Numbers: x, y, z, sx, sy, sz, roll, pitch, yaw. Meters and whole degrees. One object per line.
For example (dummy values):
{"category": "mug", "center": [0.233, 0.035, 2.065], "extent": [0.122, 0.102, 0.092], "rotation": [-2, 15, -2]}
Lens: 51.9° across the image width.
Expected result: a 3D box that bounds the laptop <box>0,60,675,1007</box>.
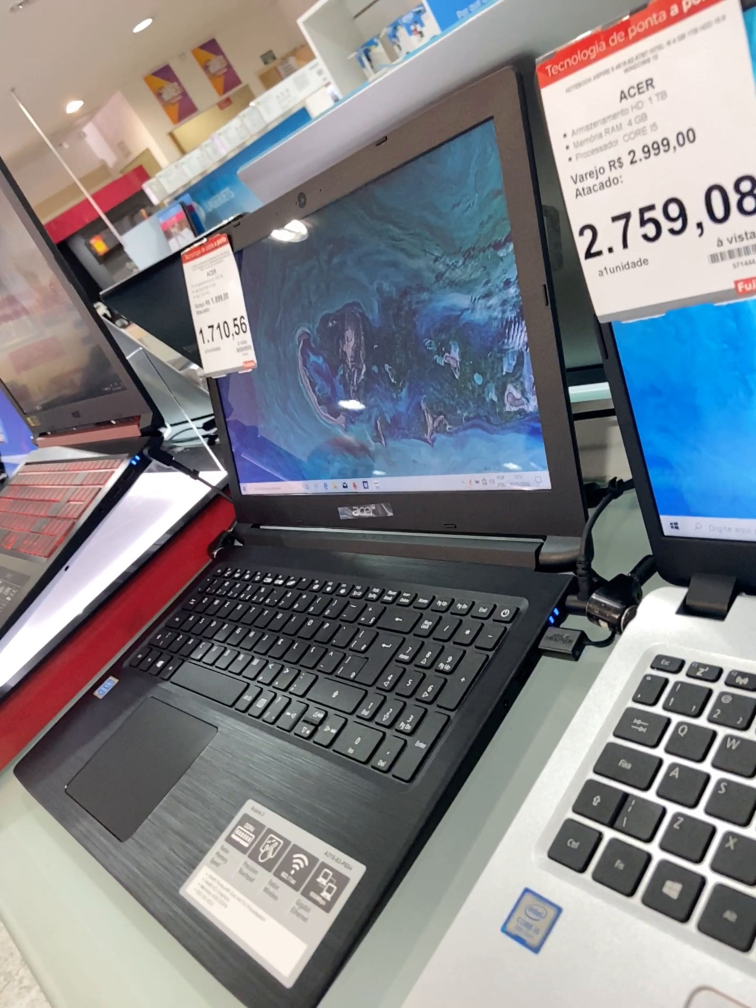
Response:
{"category": "laptop", "center": [-0.103, -0.010, 0.482], "extent": [0.378, 0.216, 0.380], "rotation": [-1, 42, 51]}
